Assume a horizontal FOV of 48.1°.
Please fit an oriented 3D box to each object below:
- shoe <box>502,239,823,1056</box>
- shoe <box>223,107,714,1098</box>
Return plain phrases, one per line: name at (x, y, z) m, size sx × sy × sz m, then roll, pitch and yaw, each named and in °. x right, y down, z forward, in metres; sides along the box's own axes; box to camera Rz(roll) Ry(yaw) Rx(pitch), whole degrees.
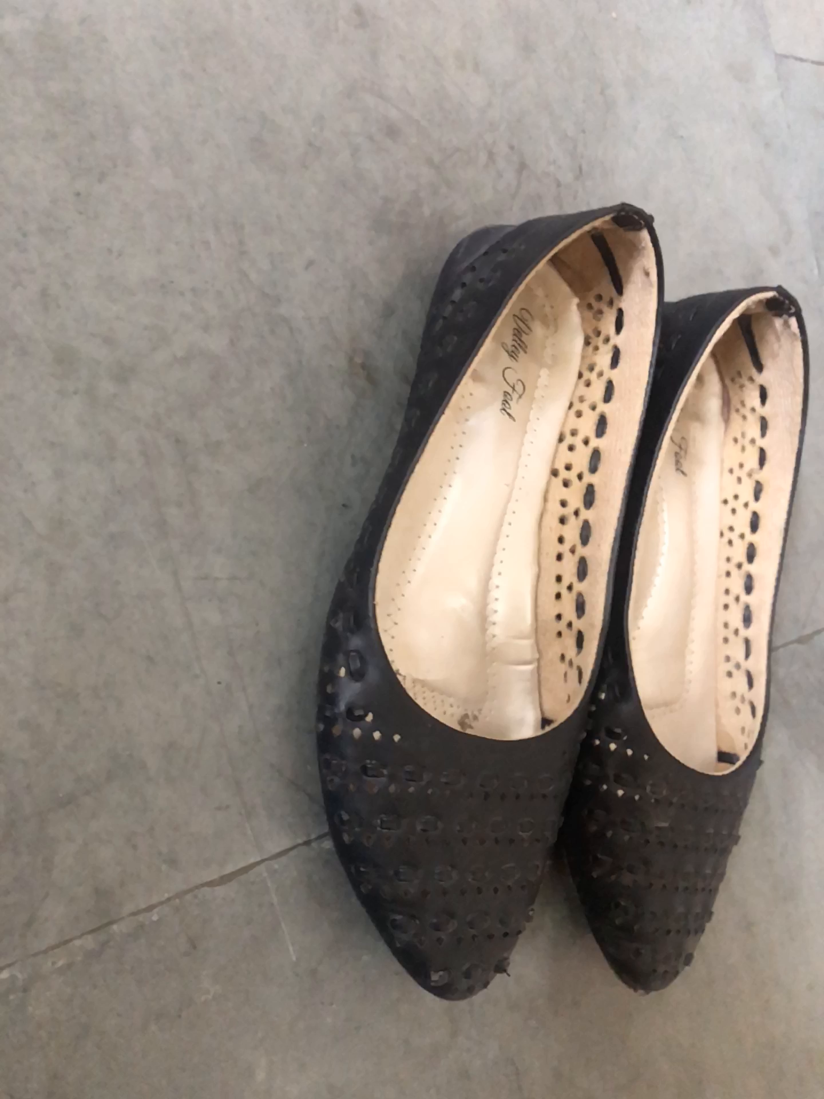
shoe at (0.102, 0.032, 0.328) m, size 0.096 × 0.073 × 0.242 m, roll 13°, pitch 77°, yaw -32°
shoe at (0.023, 0.014, 0.270) m, size 0.096 × 0.062 × 0.242 m, roll 16°, pitch 76°, yaw -31°
